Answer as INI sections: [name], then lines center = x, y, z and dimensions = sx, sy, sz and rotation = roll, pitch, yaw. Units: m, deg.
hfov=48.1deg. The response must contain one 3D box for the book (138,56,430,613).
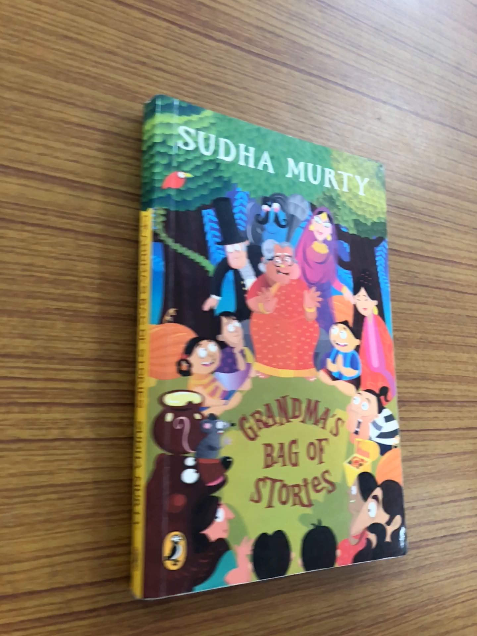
[book]
center = 0.024, 0.004, 0.245
dimensions = 0.130, 0.030, 0.210
rotation = 5, 79, -30
